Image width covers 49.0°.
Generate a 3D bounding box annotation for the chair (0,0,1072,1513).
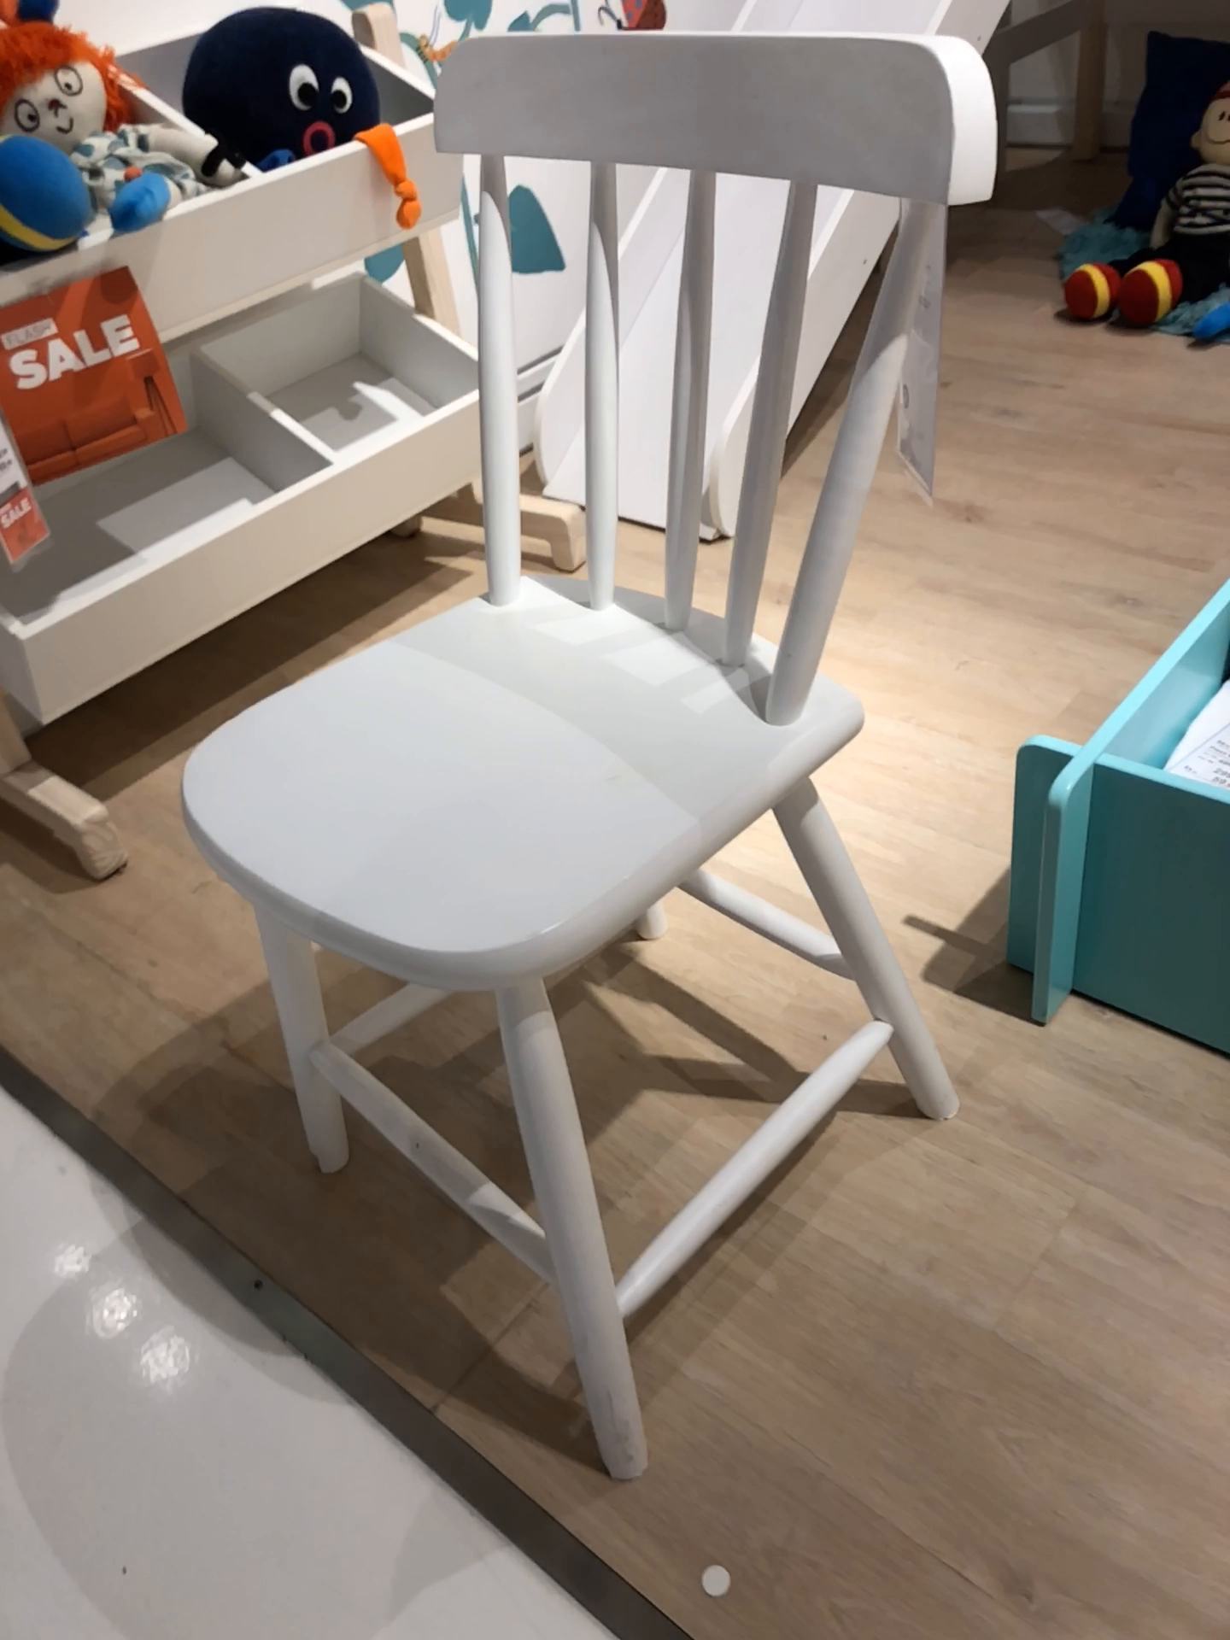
[{"bbox_3d":[-0.049,-0.049,0.866,0.432,0.754,0.442,-35,44,-29],"label":"chair"}]
